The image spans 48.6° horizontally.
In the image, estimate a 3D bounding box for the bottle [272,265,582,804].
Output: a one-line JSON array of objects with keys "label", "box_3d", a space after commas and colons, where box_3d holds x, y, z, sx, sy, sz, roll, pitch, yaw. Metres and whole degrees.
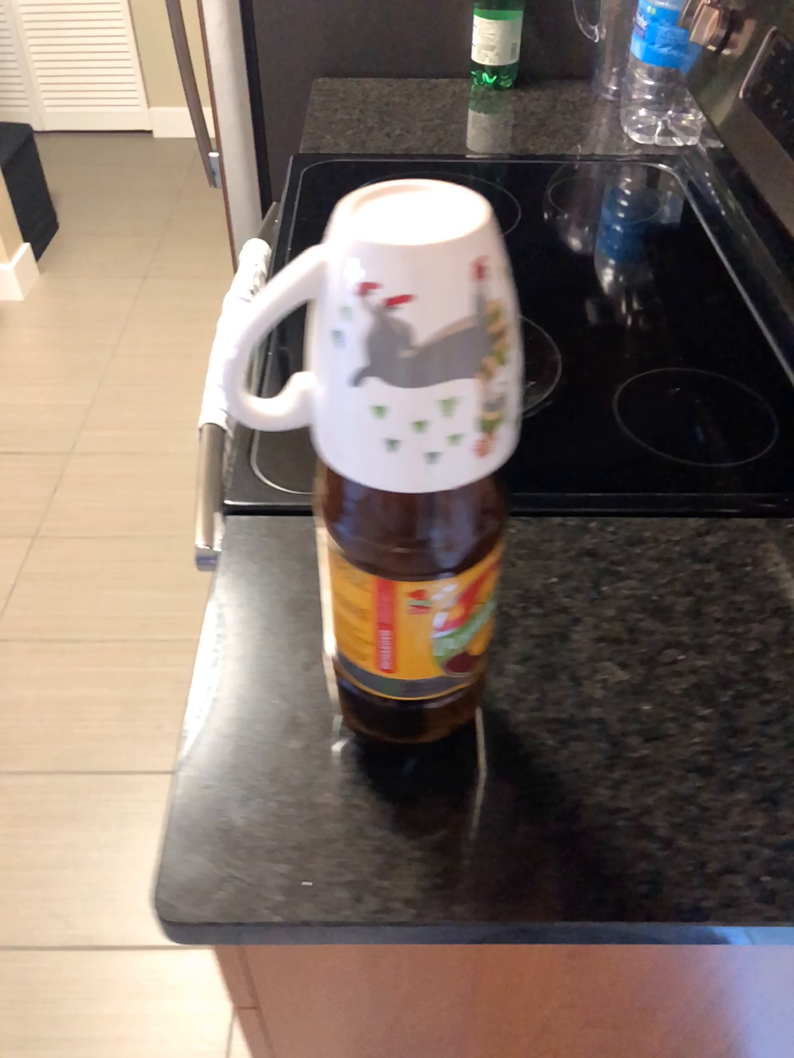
[{"label": "bottle", "box_3d": [0.015, 0.017, 0.484, 0.100, 0.279, 0.100, 0, 44, 0]}]
